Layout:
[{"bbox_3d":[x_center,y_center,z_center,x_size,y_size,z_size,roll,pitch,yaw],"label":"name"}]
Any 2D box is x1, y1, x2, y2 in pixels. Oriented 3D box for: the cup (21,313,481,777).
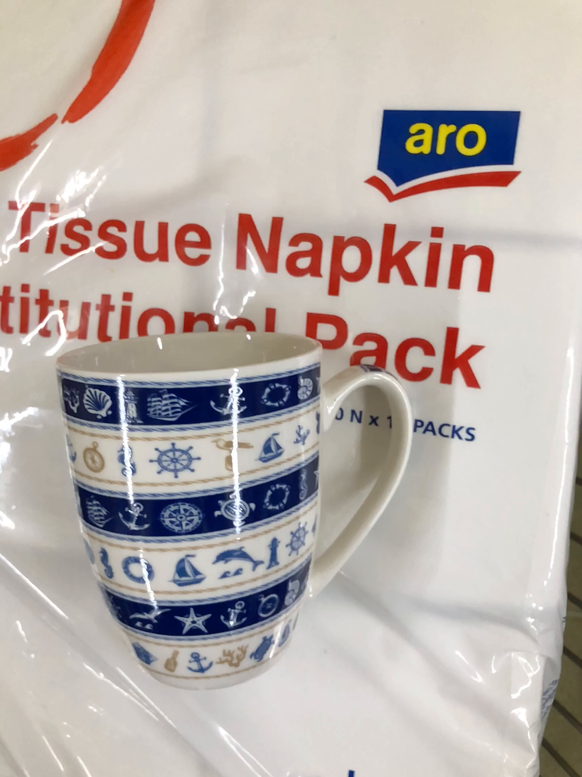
[{"bbox_3d":[-0.013,0.038,0.216,0.120,0.080,0.110,-7,104,-29],"label":"cup"}]
